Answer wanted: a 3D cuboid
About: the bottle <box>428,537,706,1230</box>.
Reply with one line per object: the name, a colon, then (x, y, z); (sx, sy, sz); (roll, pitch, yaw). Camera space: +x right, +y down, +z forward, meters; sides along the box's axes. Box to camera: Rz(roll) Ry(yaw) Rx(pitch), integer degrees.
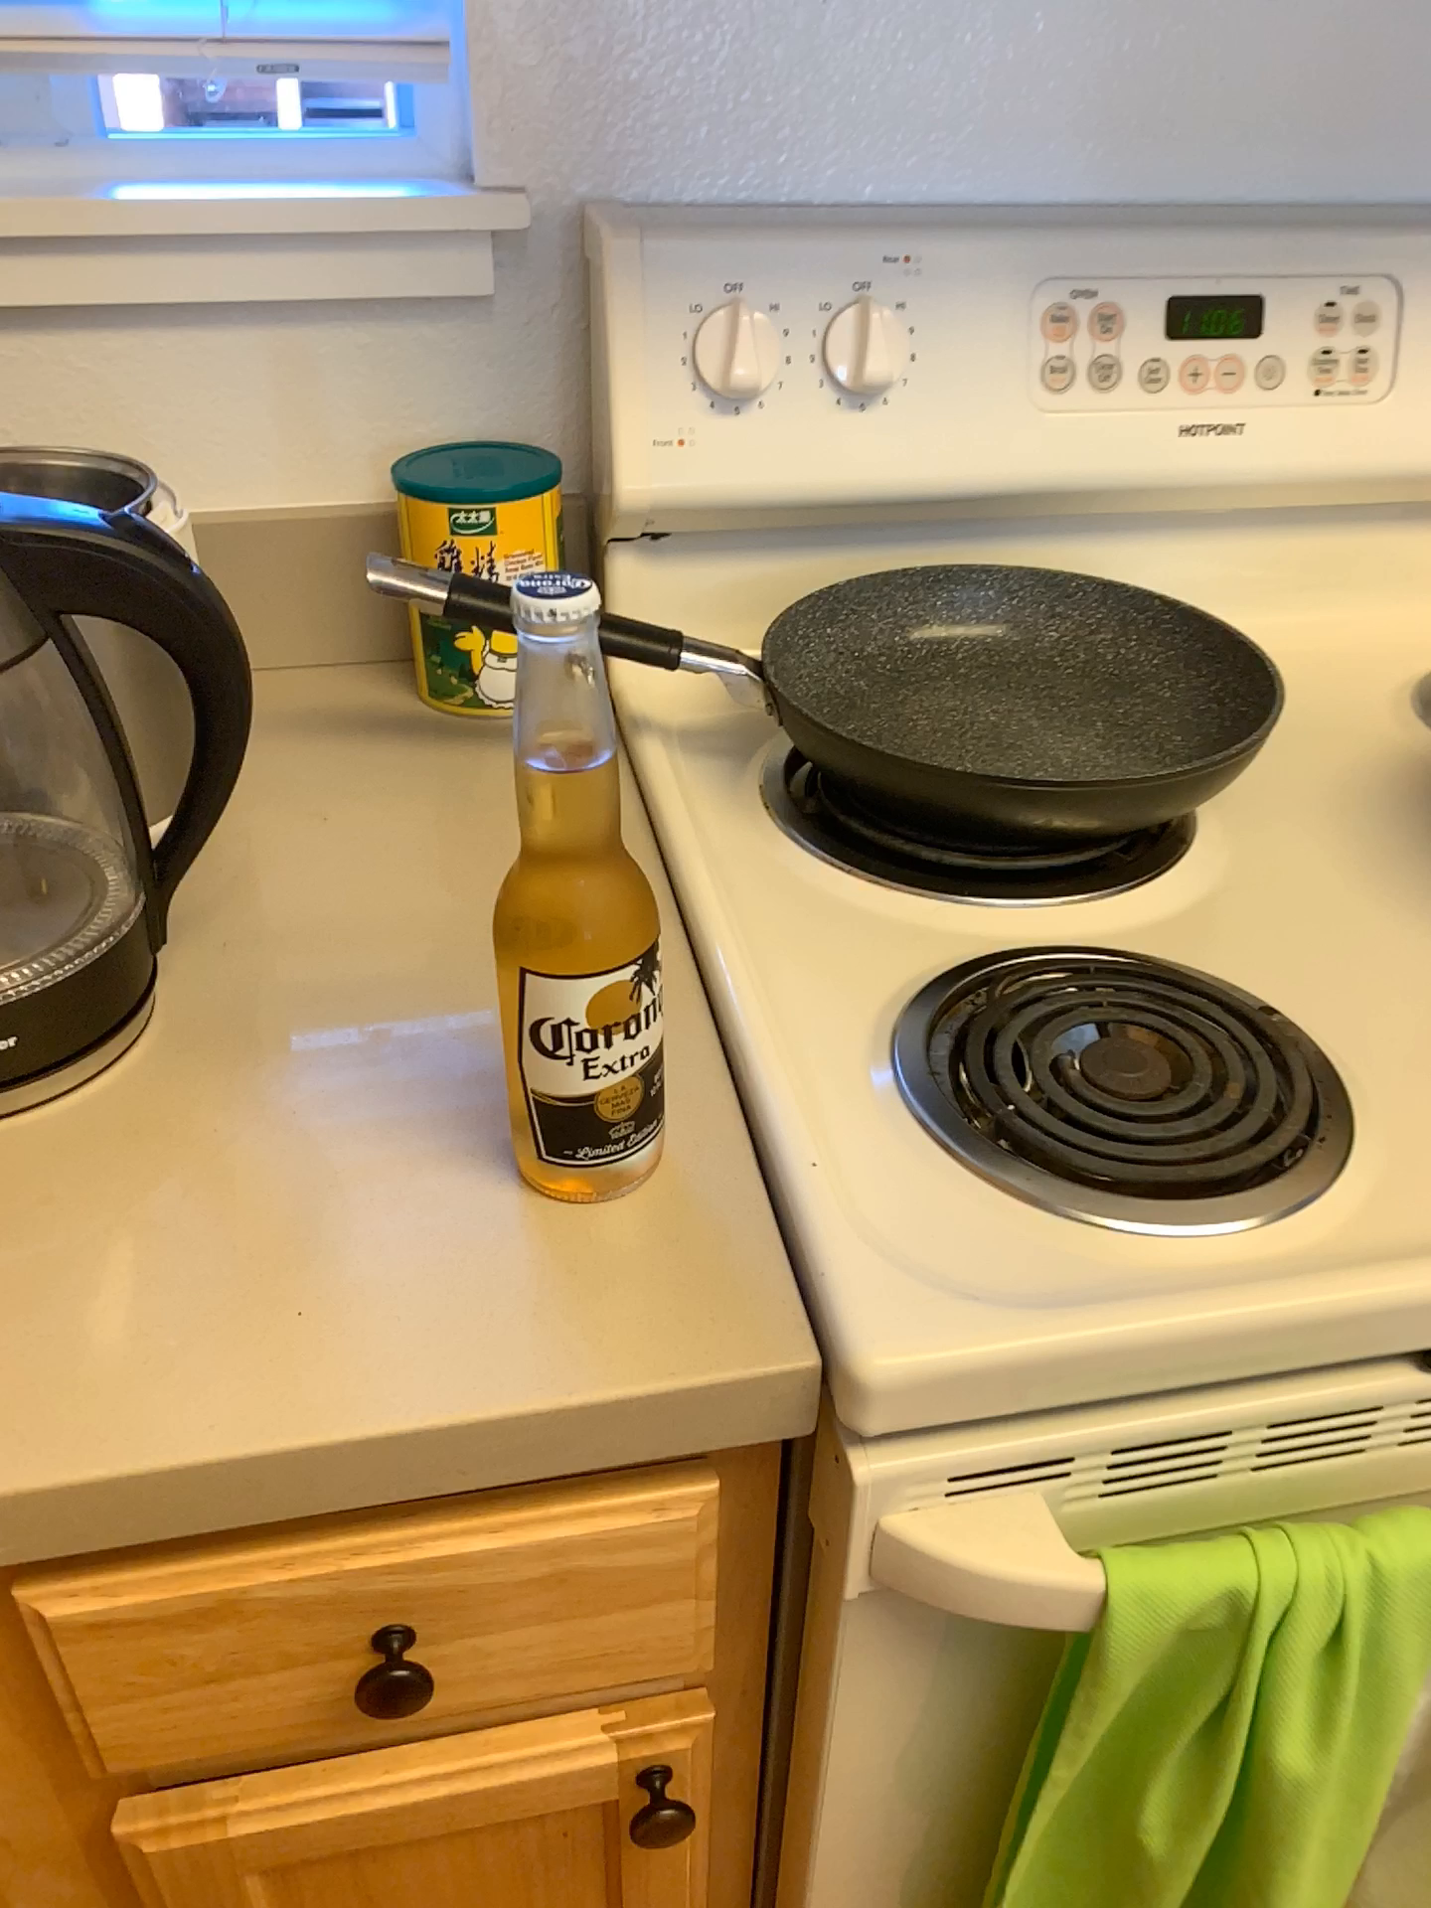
bottle: (-0.047, -0.018, 0.506); (0.059, 0.226, 0.064); (1, 34, -1)
